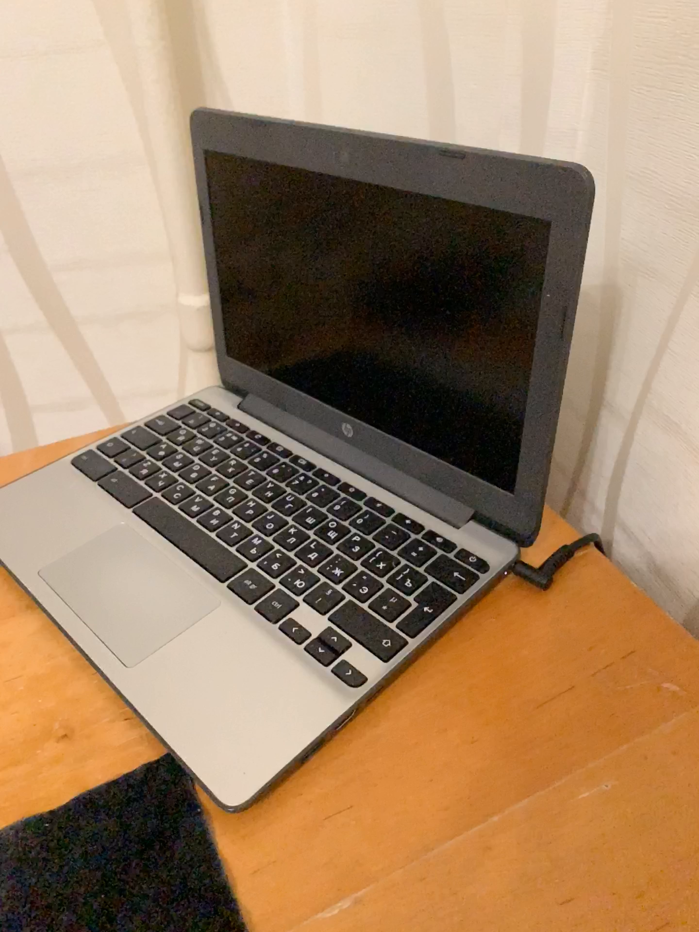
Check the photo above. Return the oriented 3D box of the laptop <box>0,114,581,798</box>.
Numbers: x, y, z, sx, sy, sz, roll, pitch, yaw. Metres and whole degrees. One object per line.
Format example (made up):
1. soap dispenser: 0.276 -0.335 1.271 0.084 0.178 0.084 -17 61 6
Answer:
1. laptop: -0.073 -0.044 0.364 0.206 0.187 0.272 -32 44 -33
